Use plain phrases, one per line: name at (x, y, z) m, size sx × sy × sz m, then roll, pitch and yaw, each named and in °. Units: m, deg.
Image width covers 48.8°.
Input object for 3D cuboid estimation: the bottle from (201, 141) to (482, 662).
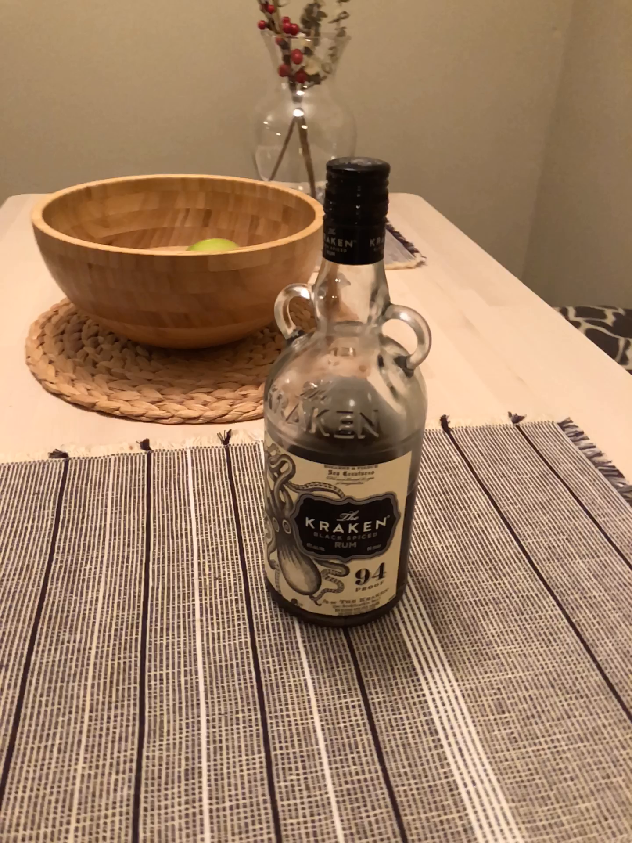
bottle at (0.012, -0.008, 0.378) m, size 0.100 × 0.248 × 0.101 m, roll 2°, pitch 31°, yaw -1°
